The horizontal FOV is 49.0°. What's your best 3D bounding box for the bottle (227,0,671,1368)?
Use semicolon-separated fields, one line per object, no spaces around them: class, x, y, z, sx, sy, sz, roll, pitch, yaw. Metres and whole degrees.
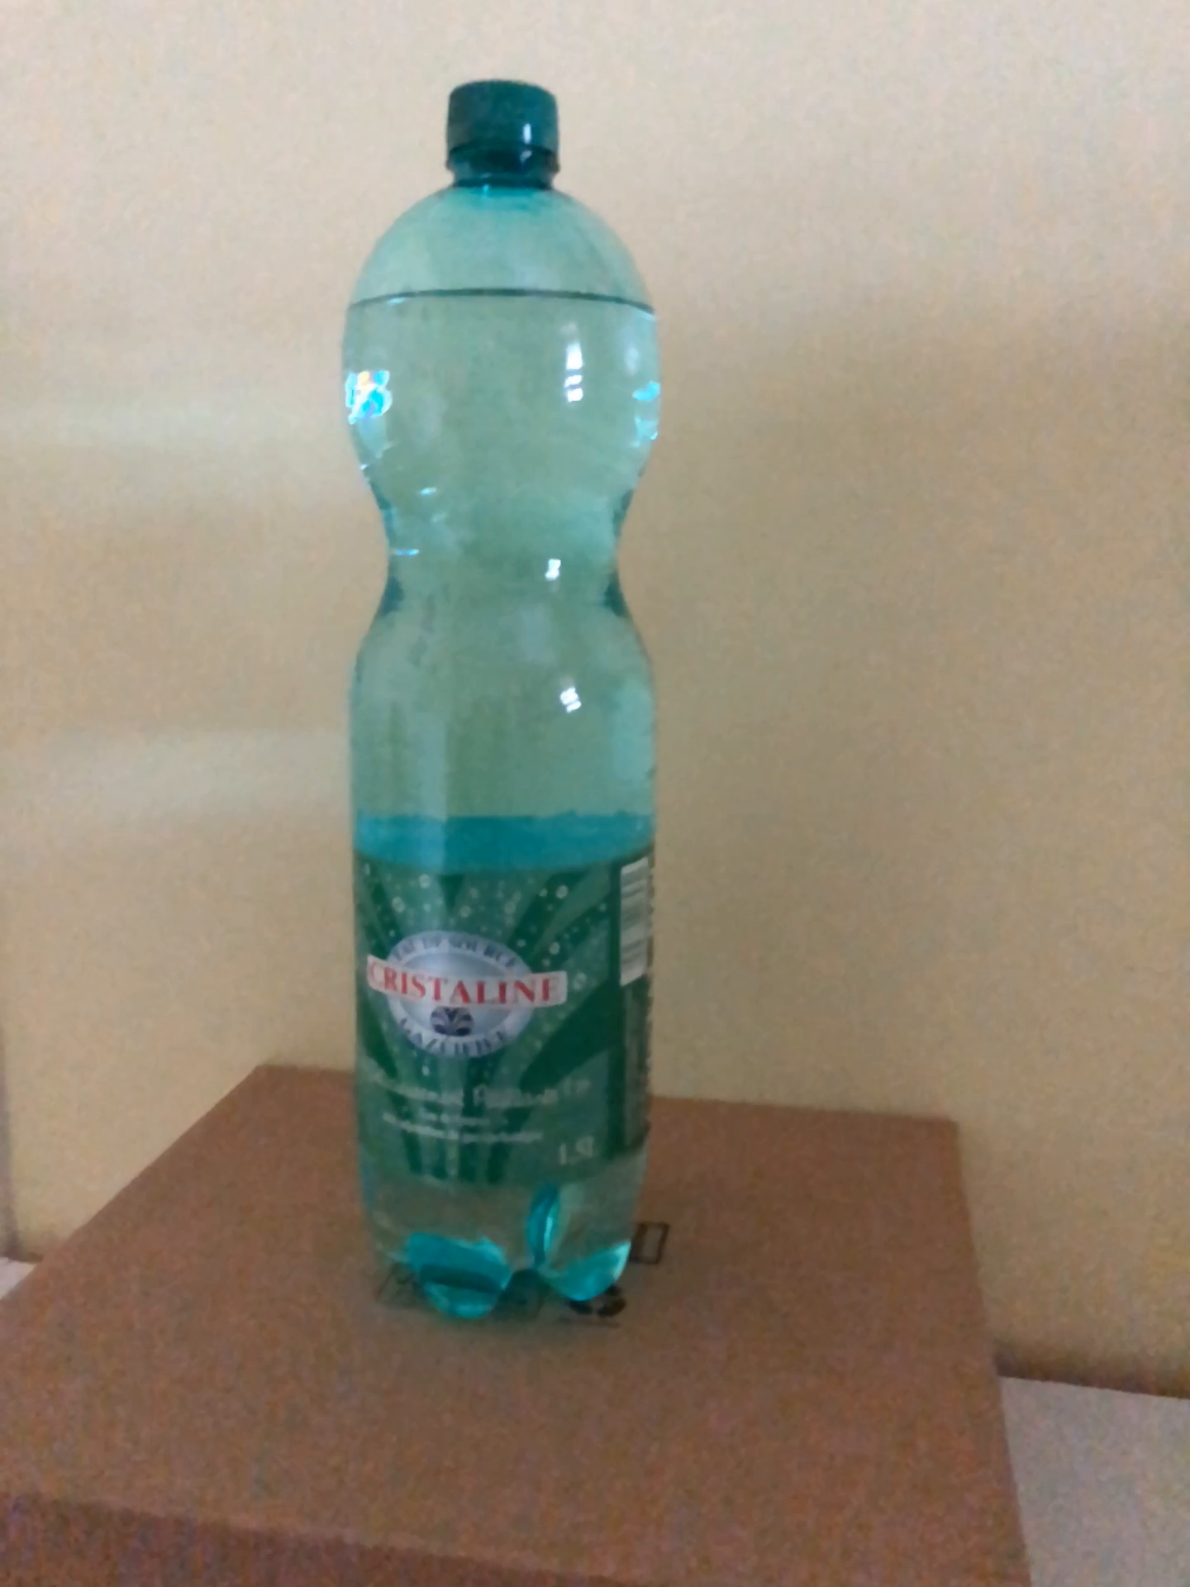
bottle;-0.033;-0.023;0.369;0.090;0.339;0.080;3;11;17
